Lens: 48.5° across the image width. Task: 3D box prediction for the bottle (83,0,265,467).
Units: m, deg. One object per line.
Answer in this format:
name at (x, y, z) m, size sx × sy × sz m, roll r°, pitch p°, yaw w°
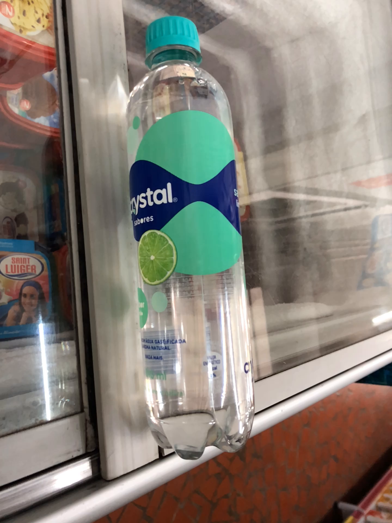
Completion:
bottle at (-0.005, -0.019, 0.246) m, size 0.070 × 0.070 × 0.240 m, roll -25°, pitch 111°, yaw -80°
